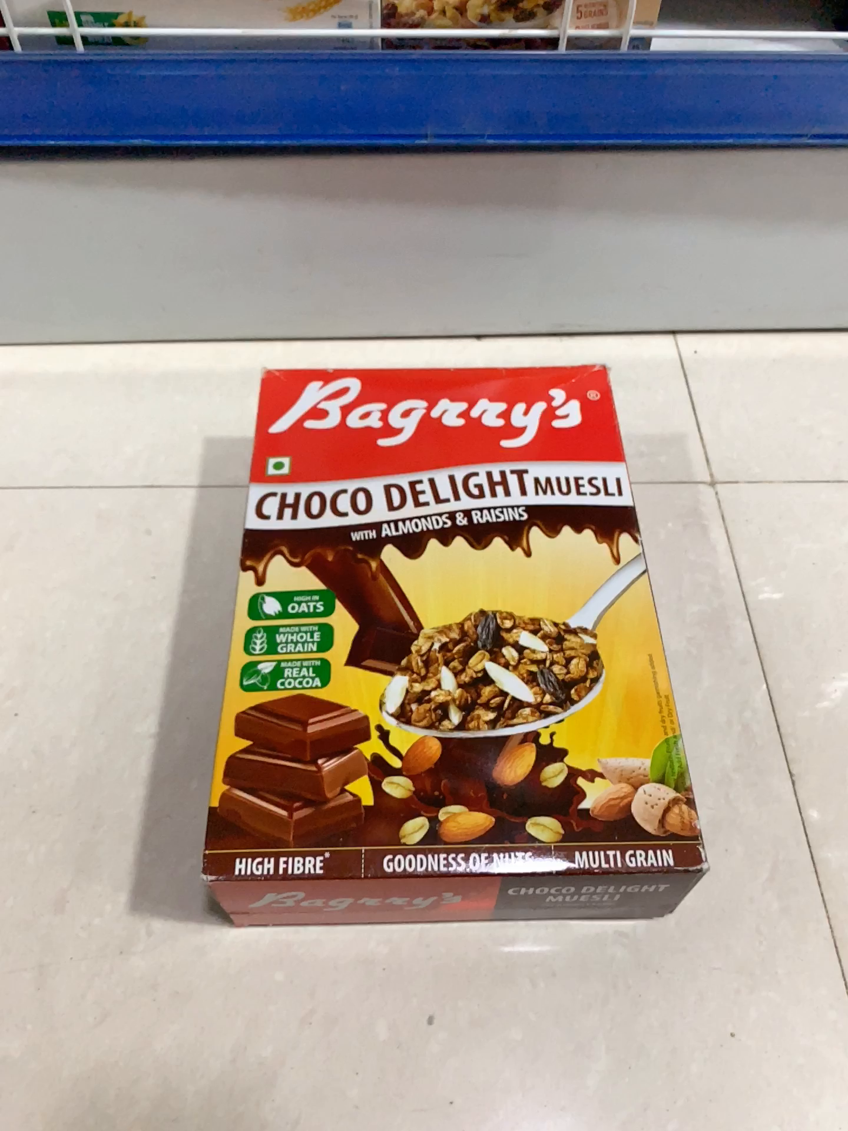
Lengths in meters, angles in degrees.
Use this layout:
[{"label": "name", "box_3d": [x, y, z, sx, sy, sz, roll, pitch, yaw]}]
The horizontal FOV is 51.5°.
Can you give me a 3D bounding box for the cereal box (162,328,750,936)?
[{"label": "cereal box", "box_3d": [0.009, 0.014, 0.413, 0.200, 0.080, 0.281, -1, 55, -1]}]
